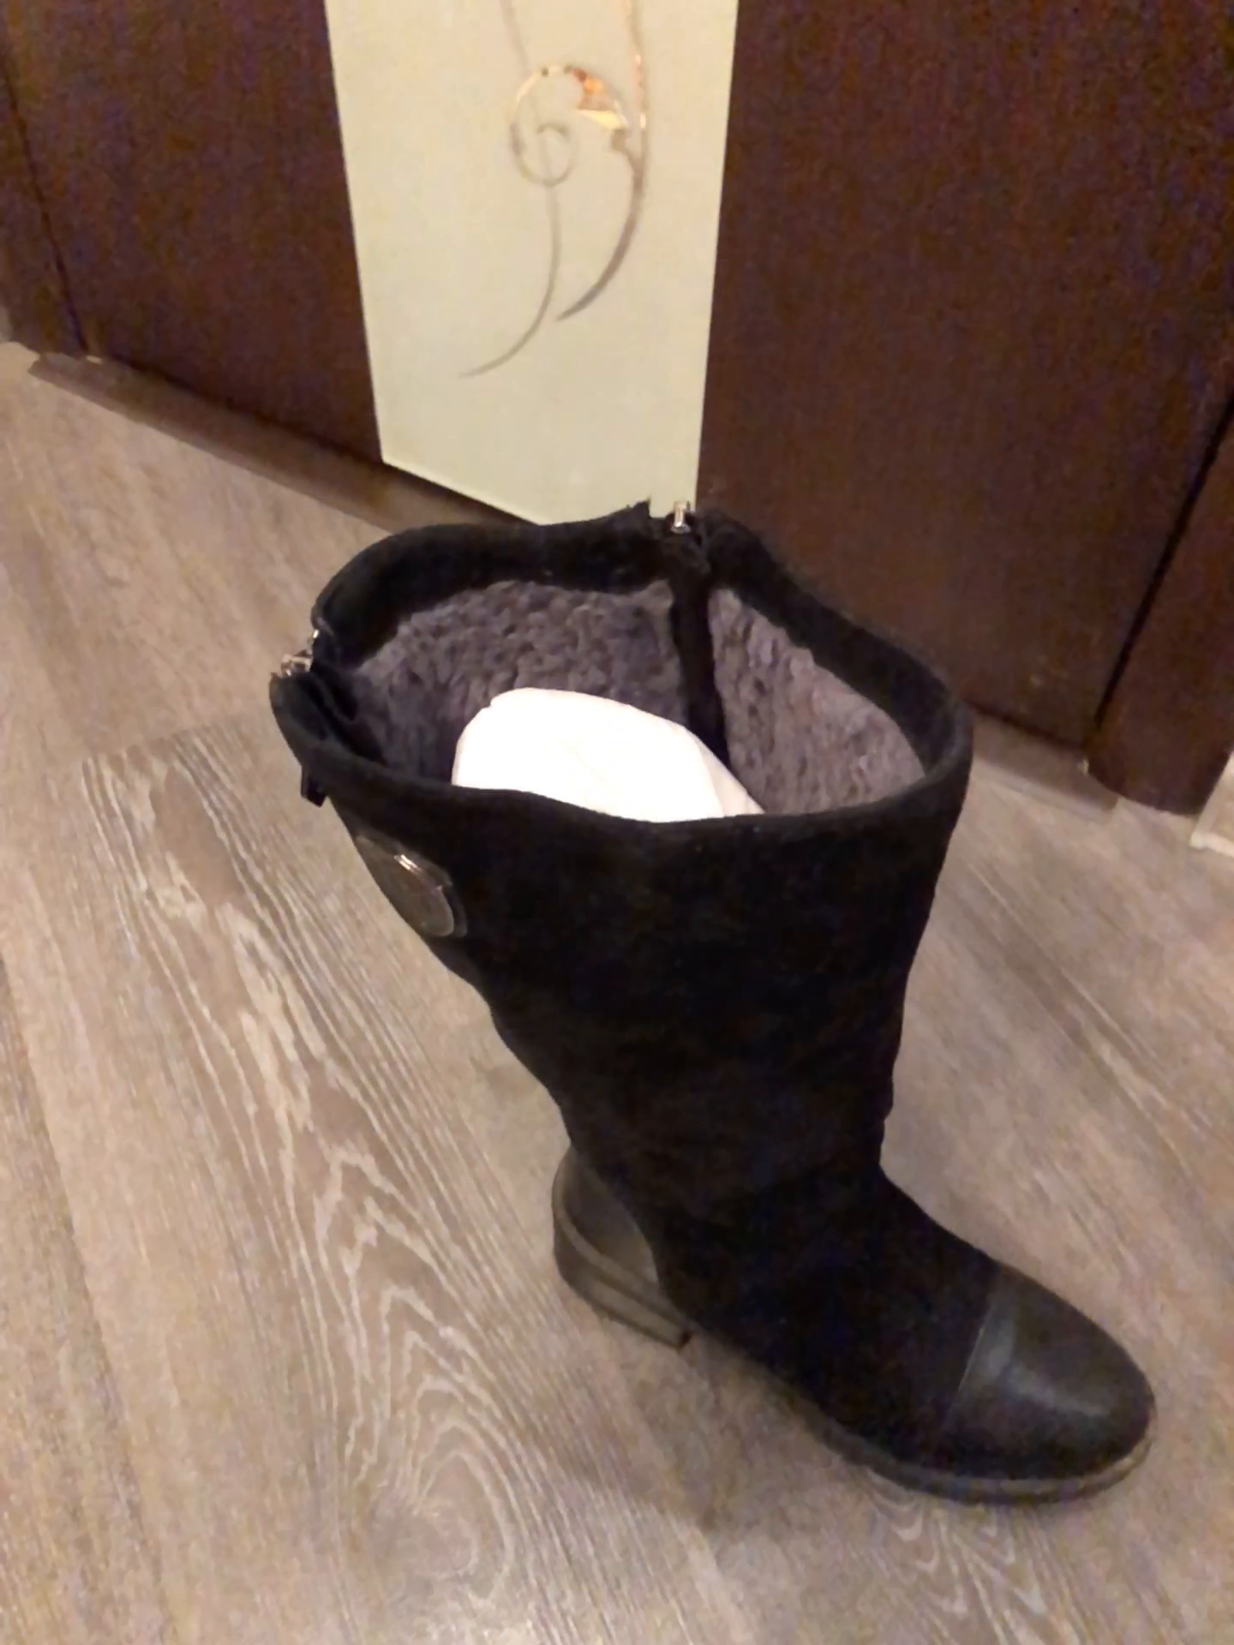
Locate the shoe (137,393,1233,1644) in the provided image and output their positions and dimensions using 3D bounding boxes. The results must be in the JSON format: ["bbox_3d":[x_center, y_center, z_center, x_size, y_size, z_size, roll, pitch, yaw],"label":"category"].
[{"bbox_3d":[0.061,0.100,0.397,0.290,0.358,0.121,20,52,14],"label":"shoe"}]
